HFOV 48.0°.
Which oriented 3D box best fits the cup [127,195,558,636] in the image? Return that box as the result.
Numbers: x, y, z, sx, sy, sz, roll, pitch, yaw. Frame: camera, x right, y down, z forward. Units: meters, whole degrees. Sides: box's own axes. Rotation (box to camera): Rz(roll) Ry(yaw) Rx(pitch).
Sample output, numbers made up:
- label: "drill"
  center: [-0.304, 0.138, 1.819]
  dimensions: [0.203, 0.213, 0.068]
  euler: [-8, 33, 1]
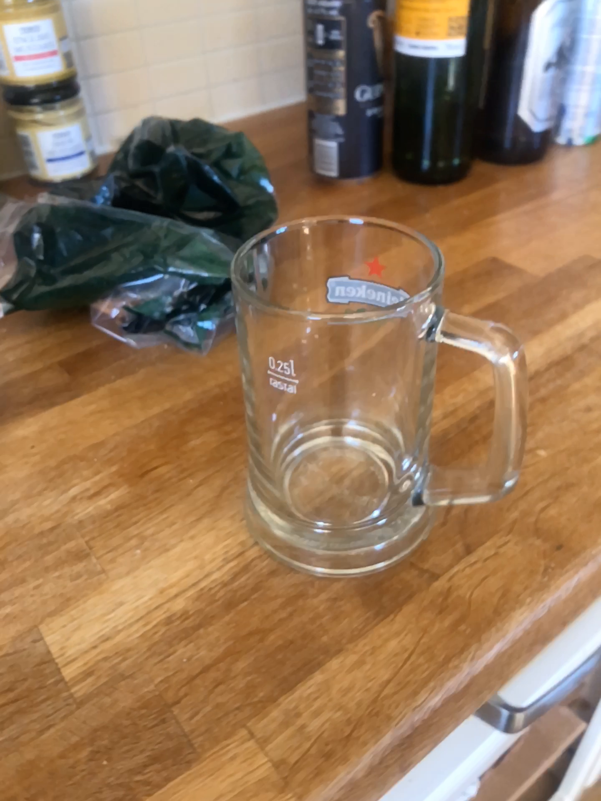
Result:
- label: "cup"
  center: [0.020, -0.001, 0.258]
  dimensions: [0.115, 0.109, 0.092]
  euler: [17, 43, 26]
